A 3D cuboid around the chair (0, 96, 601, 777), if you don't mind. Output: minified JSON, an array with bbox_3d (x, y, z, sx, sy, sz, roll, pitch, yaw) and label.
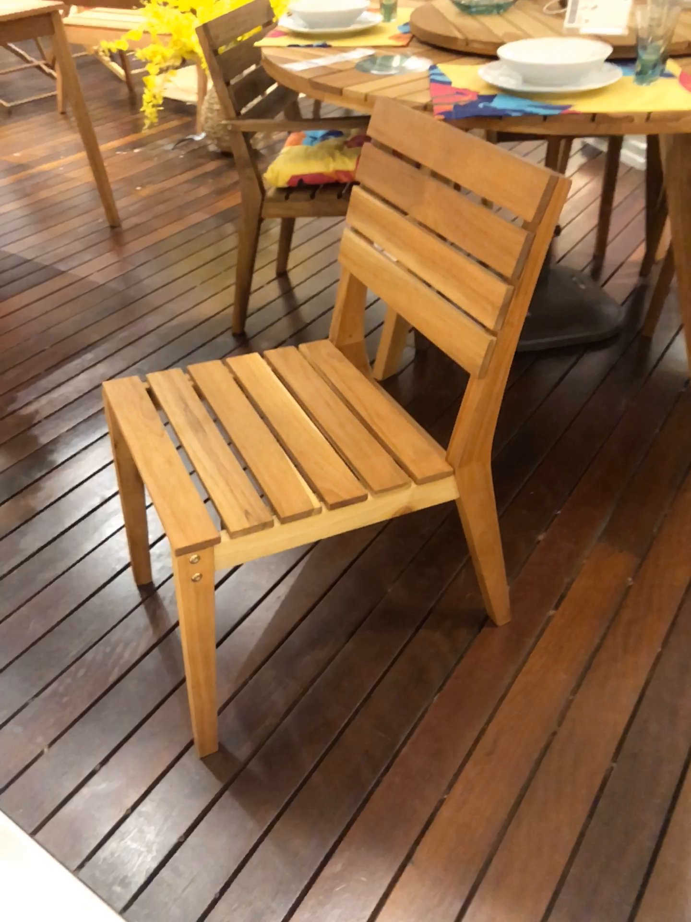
[{"bbox_3d":[-0.070,-0.051,1.152,0.601,0.764,0.463,-18,40,-19],"label":"chair"}]
